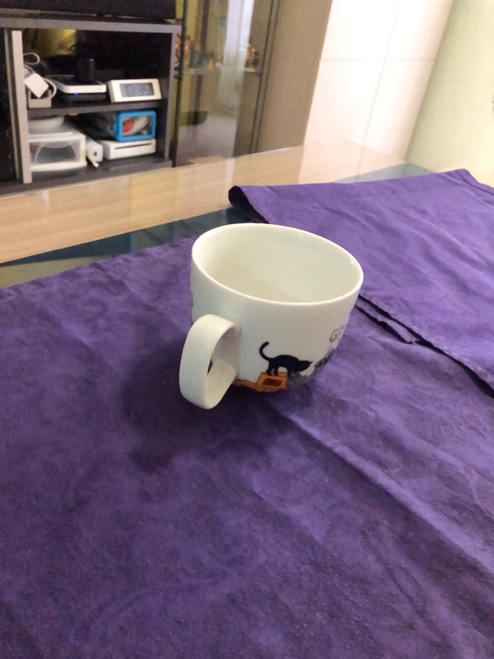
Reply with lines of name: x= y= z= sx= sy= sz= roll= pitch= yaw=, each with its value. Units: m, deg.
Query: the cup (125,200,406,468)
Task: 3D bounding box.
cup: x=0.014 y=-0.010 z=0.311 sx=0.090 sy=0.070 sz=0.141 roll=26 pitch=37 yaw=23
